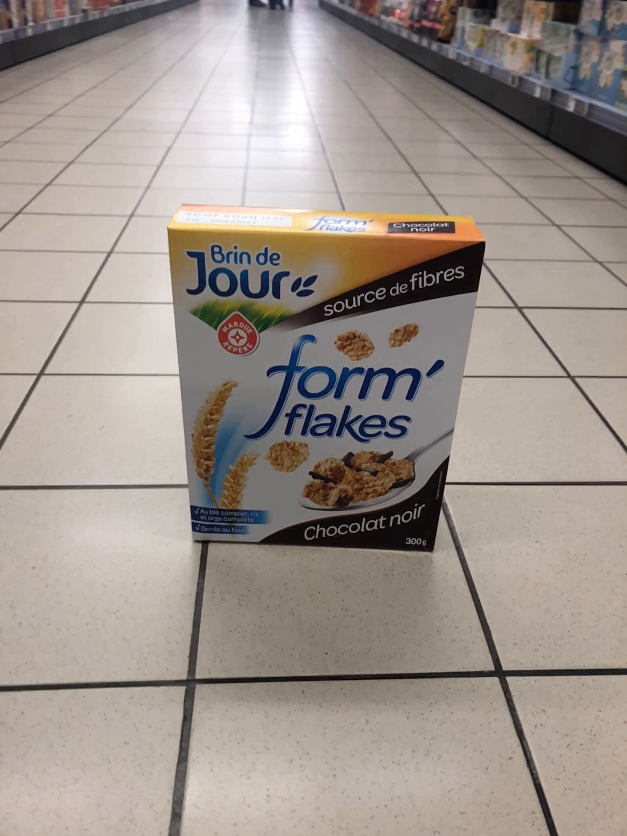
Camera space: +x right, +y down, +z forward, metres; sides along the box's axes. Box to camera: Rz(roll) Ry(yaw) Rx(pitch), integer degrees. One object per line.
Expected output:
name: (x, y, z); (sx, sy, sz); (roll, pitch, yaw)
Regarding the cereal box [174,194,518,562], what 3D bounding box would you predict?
cereal box: (0.015, -0.020, 0.495); (0.200, 0.248, 0.070); (3, 31, 0)
